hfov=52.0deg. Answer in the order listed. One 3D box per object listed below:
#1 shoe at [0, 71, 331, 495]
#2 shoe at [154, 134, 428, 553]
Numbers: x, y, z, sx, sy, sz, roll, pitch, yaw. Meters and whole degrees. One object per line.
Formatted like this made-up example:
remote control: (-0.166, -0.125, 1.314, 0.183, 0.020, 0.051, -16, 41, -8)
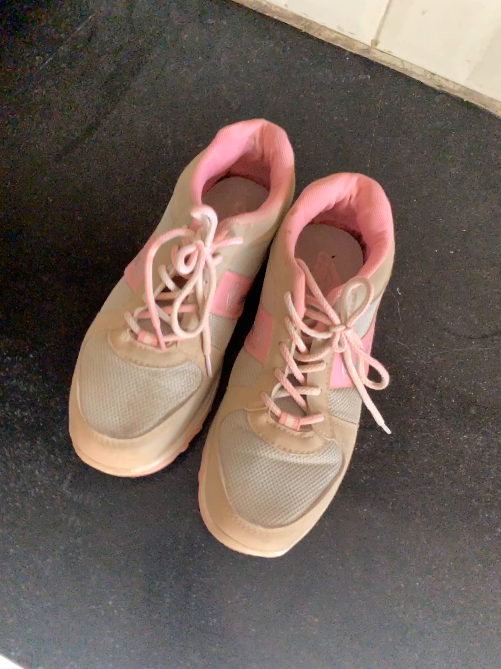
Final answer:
shoe: (-0.045, -0.035, 0.336, 0.100, 0.100, 0.241, 23, 67, 4)
shoe: (0.030, 0.005, 0.329, 0.090, 0.100, 0.231, 19, 67, 2)
